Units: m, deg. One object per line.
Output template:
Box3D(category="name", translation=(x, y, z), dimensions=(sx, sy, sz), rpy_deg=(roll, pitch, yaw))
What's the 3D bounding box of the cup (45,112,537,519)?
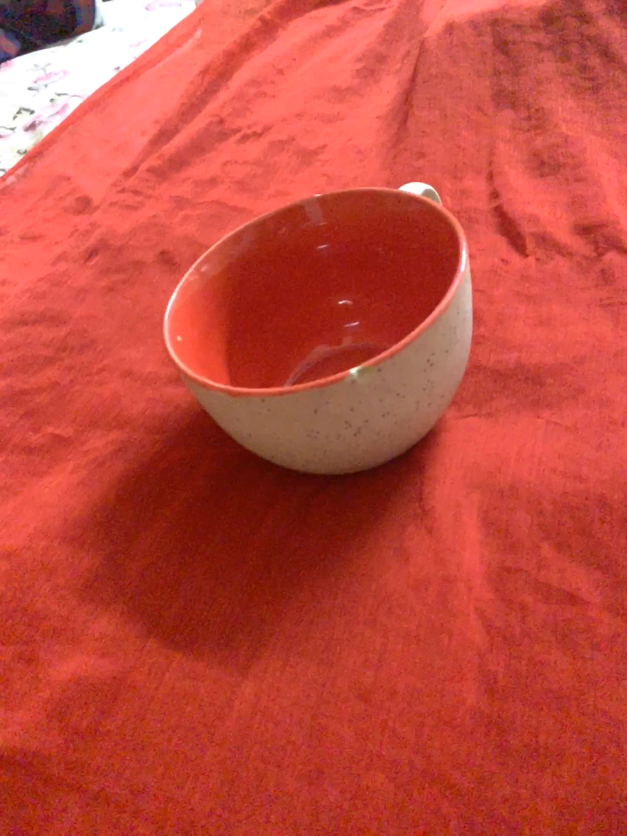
Box3D(category="cup", translation=(0.000, -0.055, 0.261), dimensions=(0.131, 0.069, 0.141), rpy_deg=(-9, 45, 10))
